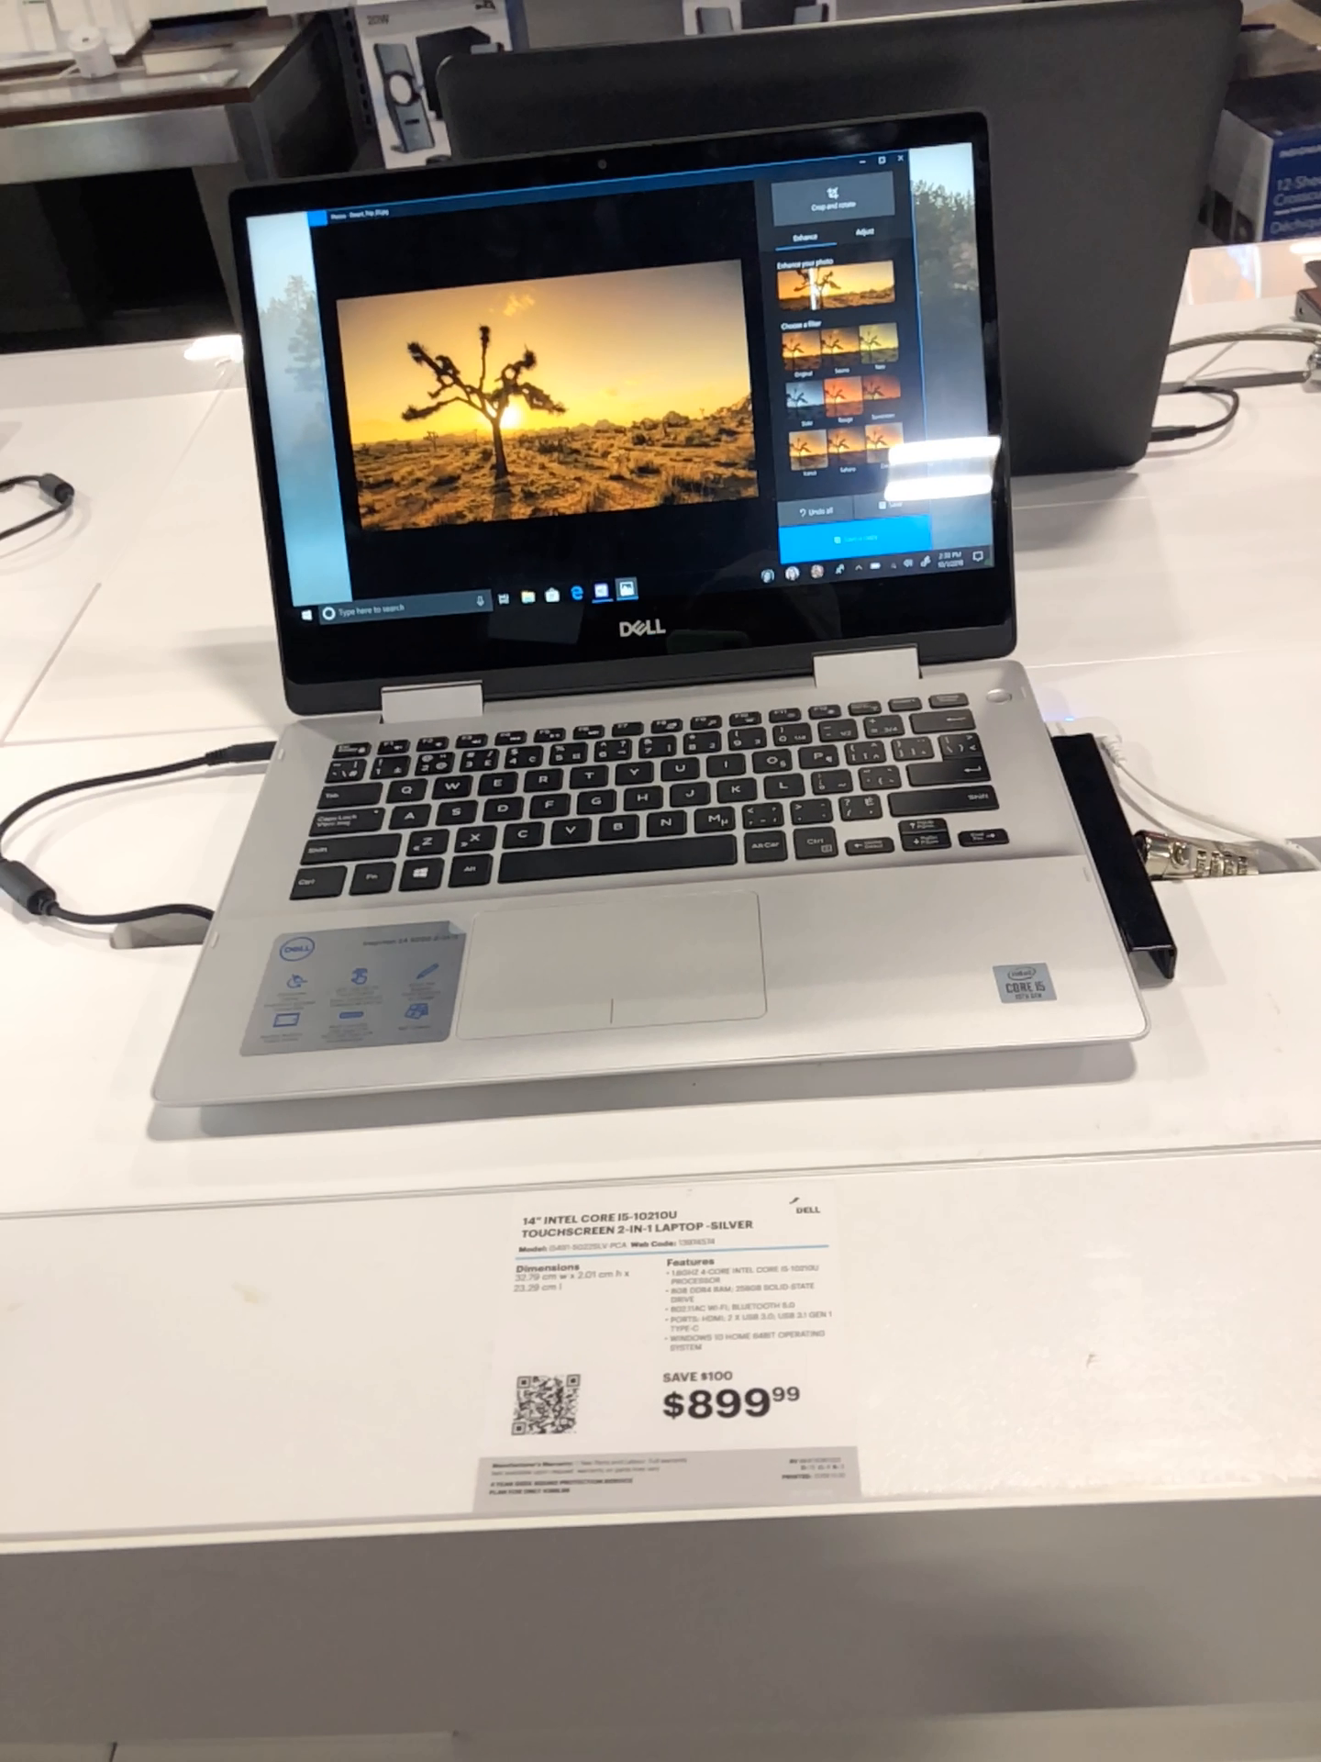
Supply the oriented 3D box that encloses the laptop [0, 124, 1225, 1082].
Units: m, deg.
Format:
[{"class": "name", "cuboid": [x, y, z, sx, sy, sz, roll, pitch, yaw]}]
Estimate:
[{"class": "laptop", "cuboid": [-0.018, -0.118, 0.531, 0.311, 0.195, 0.328, -4, 38, 6]}]
